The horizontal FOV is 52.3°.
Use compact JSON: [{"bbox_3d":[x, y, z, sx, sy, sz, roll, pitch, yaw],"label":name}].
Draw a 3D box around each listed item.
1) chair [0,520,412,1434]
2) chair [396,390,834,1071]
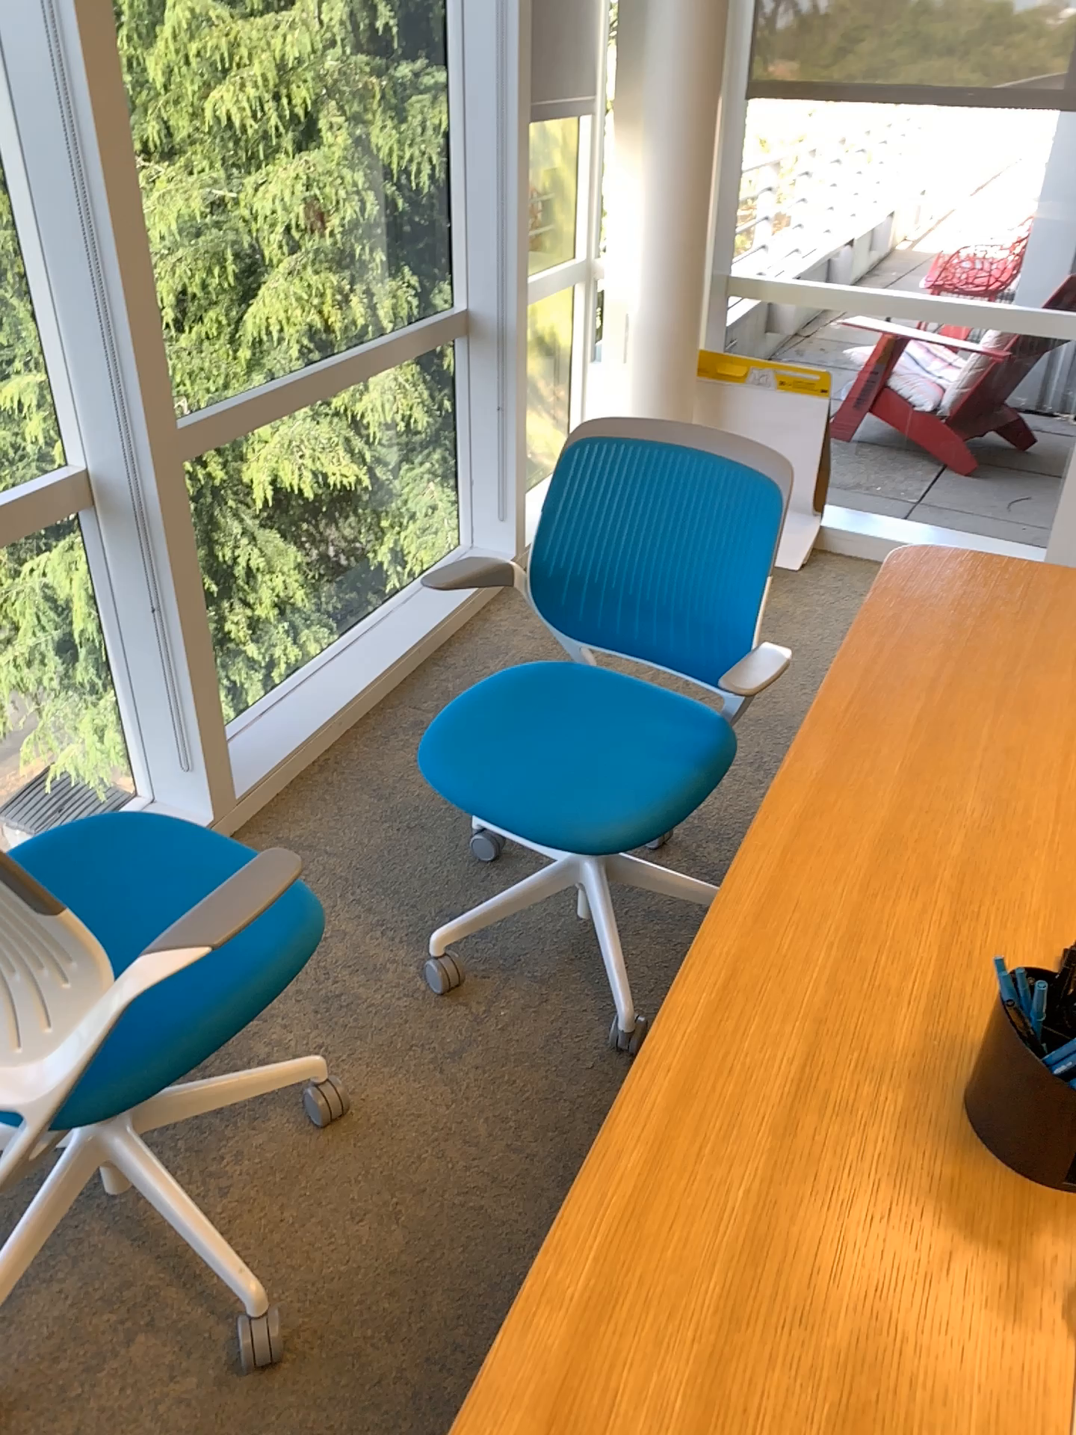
[{"bbox_3d":[-0.623,0.380,1.451,0.651,1.014,0.643,12,34,17],"label":"chair"},{"bbox_3d":[0.147,0.010,2.207,0.541,1.094,0.632,18,36,24],"label":"chair"}]
